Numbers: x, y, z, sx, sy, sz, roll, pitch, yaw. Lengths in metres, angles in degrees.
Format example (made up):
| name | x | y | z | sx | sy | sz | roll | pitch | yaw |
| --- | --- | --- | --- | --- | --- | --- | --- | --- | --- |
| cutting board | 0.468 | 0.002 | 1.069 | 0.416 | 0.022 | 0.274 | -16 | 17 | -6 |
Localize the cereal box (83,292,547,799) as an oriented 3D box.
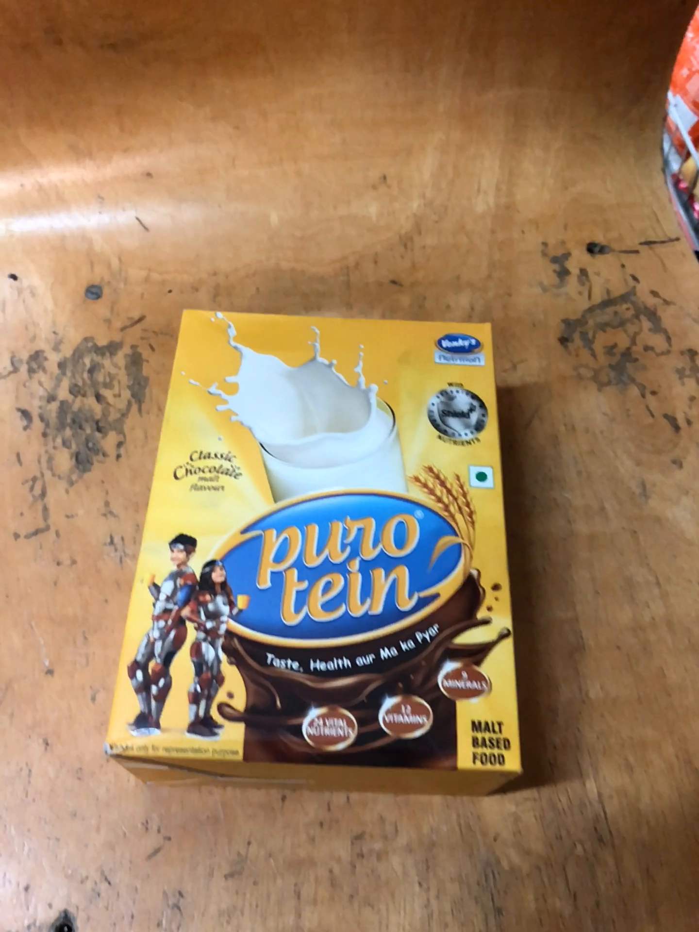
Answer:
| name | x | y | z | sx | sy | sz | roll | pitch | yaw |
| --- | --- | --- | --- | --- | --- | --- | --- | --- | --- |
| cereal box | -0.009 | 0.030 | 0.313 | 0.140 | 0.080 | 0.181 | 2 | 62 | -1 |
